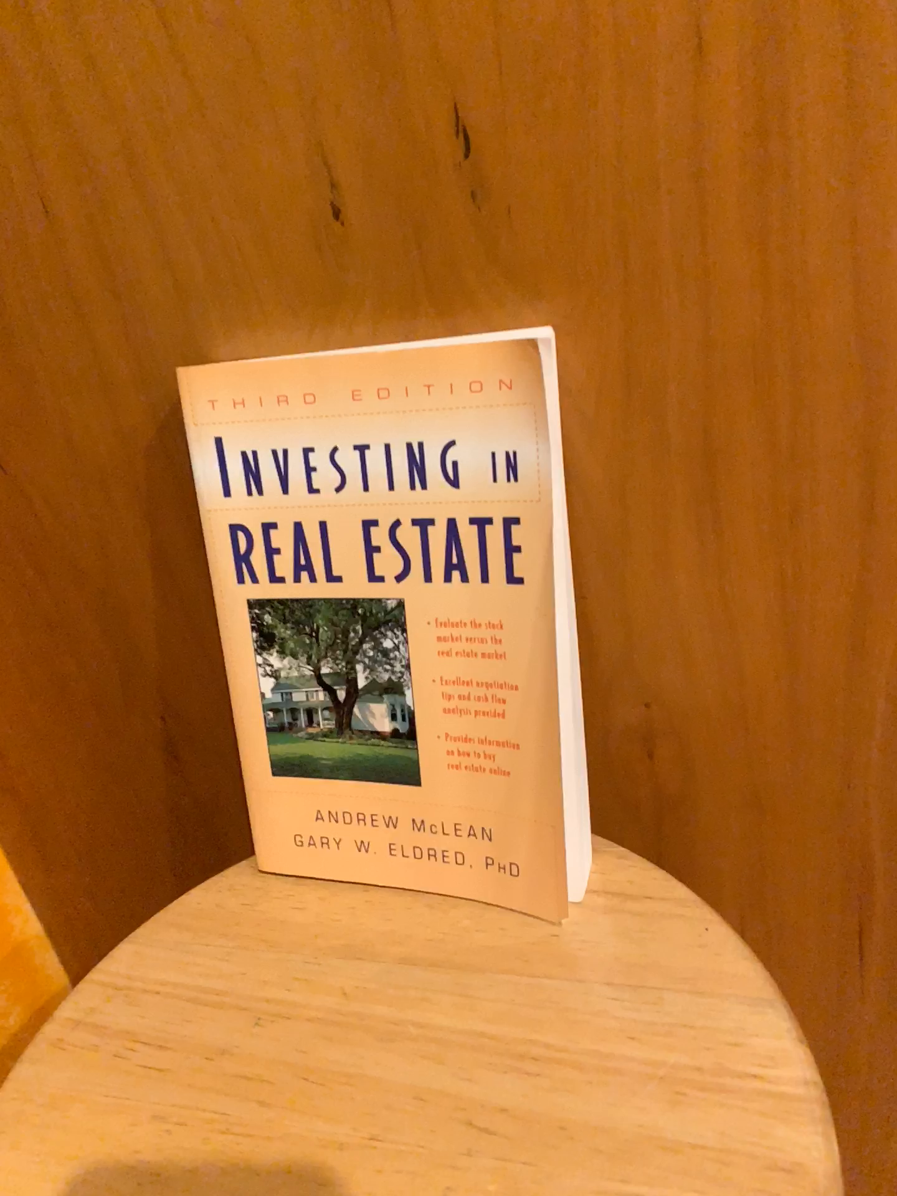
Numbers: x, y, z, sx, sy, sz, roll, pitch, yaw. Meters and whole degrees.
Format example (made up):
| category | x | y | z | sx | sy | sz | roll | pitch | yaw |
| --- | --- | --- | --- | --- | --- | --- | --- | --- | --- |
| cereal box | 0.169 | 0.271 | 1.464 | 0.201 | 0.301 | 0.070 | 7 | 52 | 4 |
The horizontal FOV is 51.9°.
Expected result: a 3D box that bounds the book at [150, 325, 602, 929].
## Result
| category | x | y | z | sx | sy | sz | roll | pitch | yaw |
| --- | --- | --- | --- | --- | --- | --- | --- | --- | --- |
| book | -0.025 | 0.013 | 0.387 | 0.160 | 0.229 | 0.050 | 0 | 14 | 20 |
